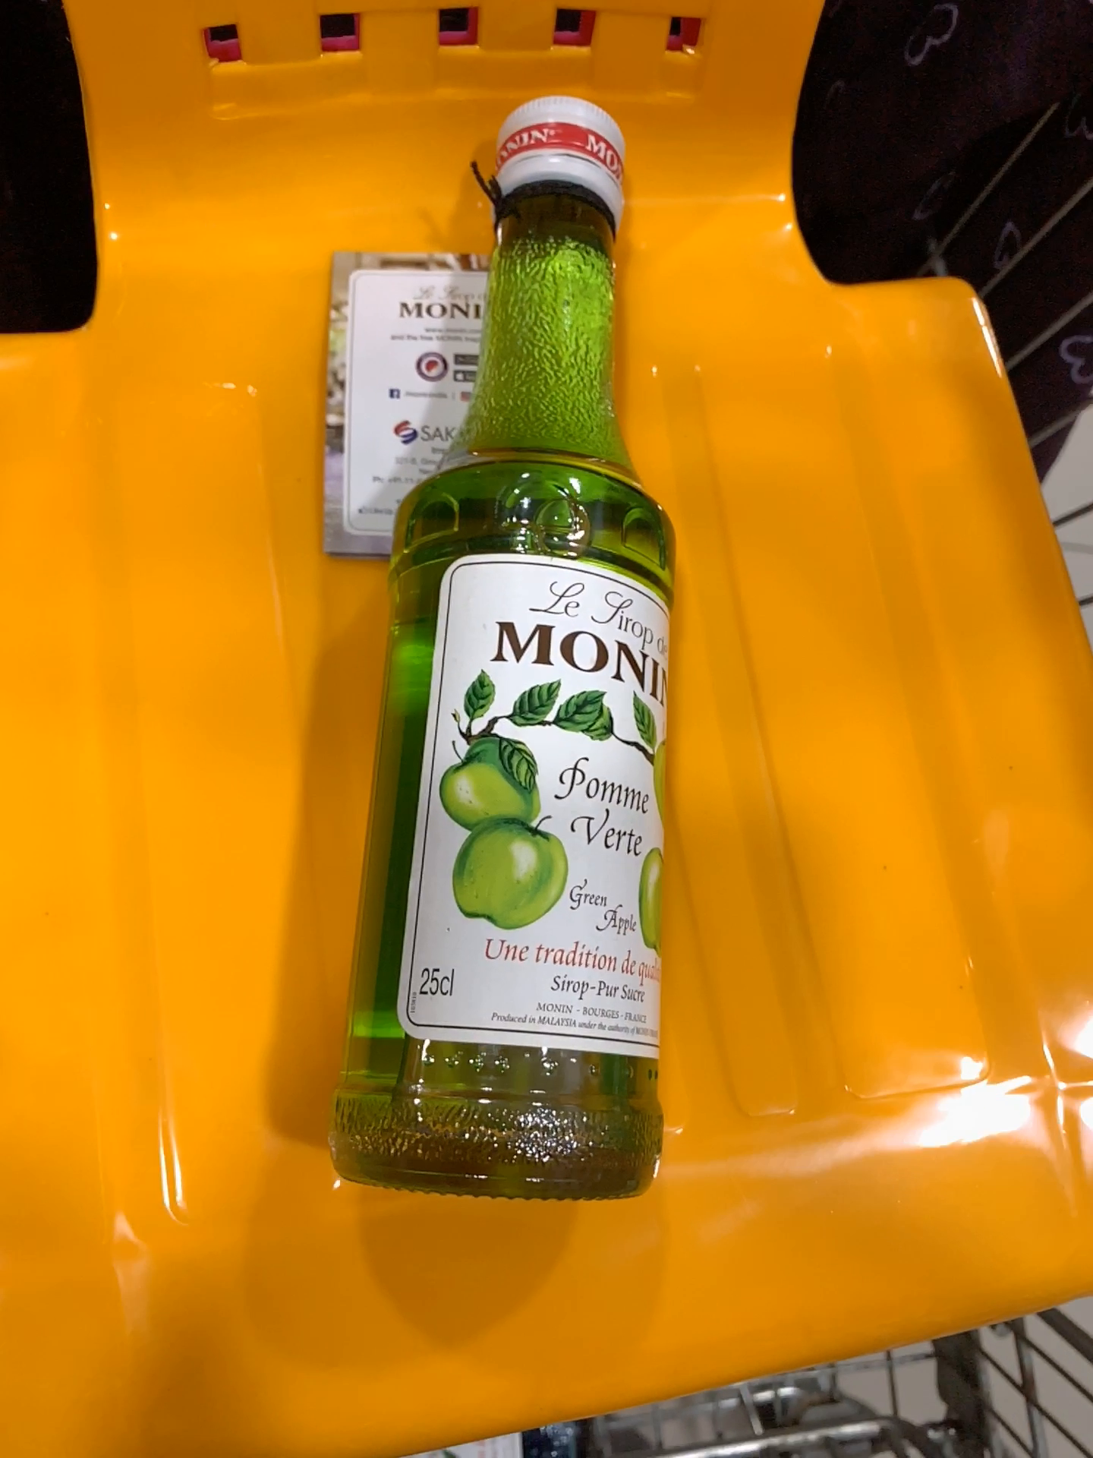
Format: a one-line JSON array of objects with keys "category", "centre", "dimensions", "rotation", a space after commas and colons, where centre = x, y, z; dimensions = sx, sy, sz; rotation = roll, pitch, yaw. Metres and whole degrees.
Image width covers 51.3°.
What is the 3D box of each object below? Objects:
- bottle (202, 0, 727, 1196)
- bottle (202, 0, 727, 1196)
[{"category": "bottle", "centre": [-0.009, -0.028, 0.234], "dimensions": [0.060, 0.060, 0.220], "rotation": [-6, 71, 35]}, {"category": "bottle", "centre": [-0.009, -0.028, 0.234], "dimensions": [0.060, 0.060, 0.220], "rotation": [-6, 71, 35]}]
